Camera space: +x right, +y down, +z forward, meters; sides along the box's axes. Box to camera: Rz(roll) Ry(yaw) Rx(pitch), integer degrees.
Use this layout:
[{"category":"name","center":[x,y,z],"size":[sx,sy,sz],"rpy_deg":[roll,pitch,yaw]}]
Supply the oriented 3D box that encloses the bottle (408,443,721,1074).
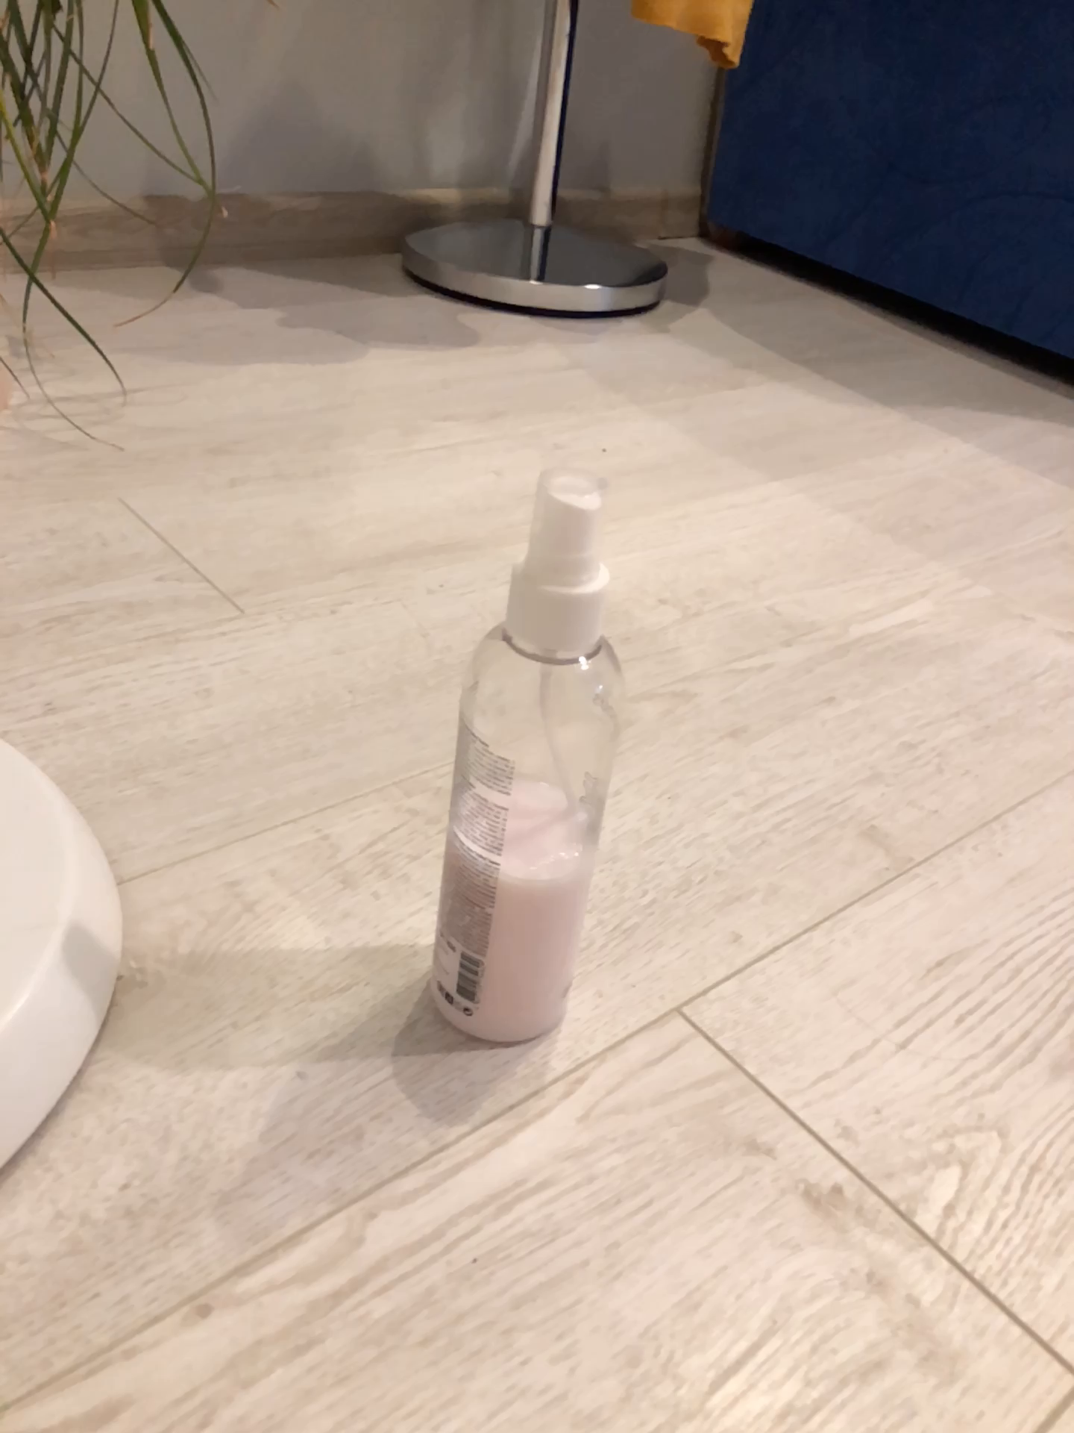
[{"category":"bottle","center":[0.002,0.018,0.356],"size":[0.054,0.183,0.049],"rpy_deg":[-19,41,-35]}]
